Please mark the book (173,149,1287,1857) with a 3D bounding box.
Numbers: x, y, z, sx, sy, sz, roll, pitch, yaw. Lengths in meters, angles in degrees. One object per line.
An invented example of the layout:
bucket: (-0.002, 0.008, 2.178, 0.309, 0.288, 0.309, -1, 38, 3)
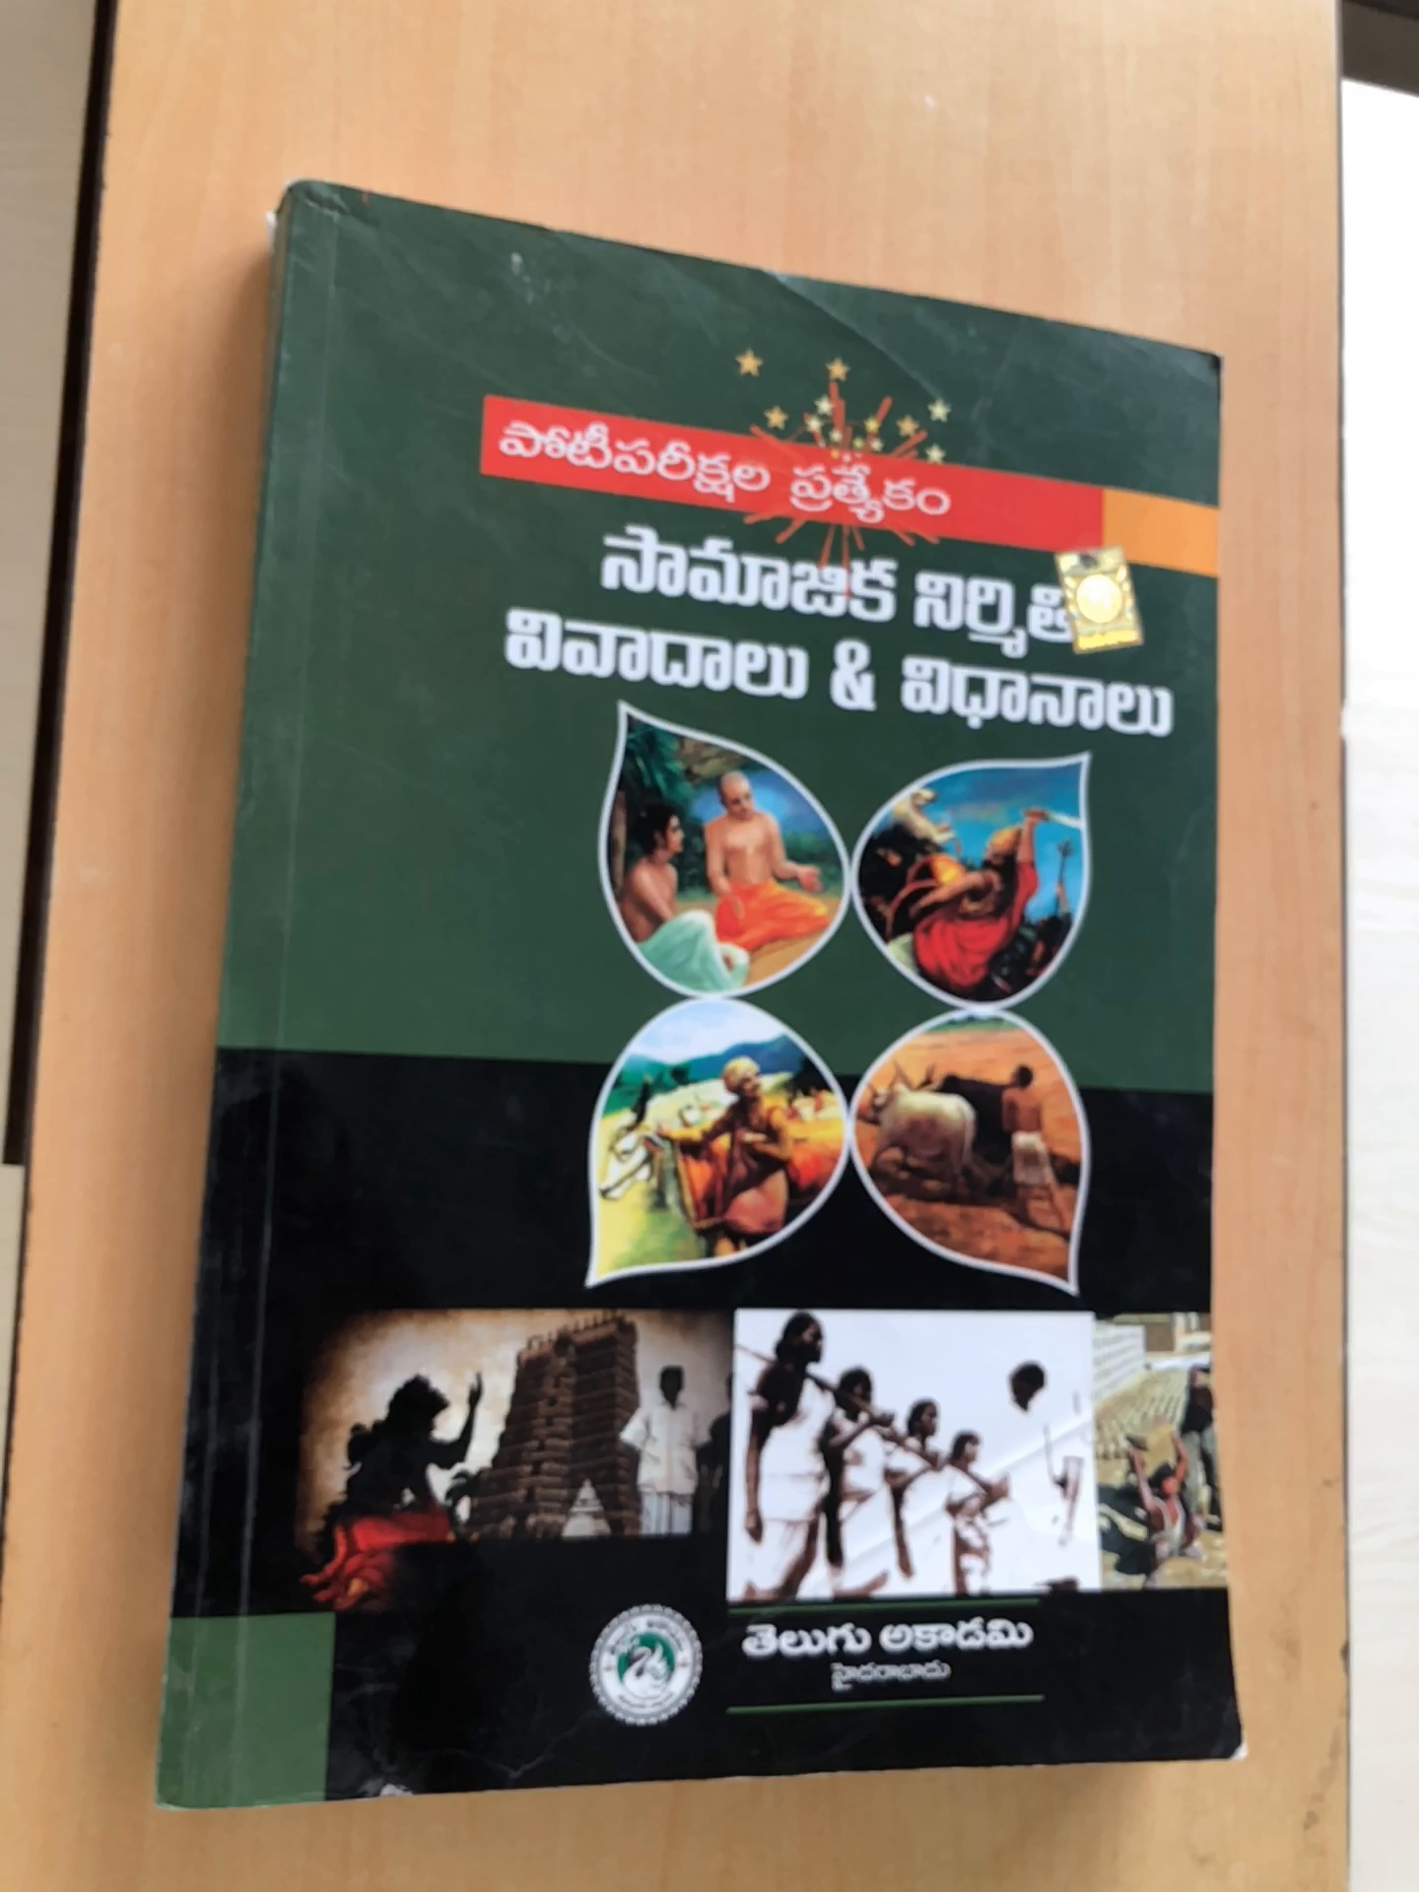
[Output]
book: (0.010, 0.009, 0.301, 0.190, 0.050, 0.270, 4, 83, -15)
